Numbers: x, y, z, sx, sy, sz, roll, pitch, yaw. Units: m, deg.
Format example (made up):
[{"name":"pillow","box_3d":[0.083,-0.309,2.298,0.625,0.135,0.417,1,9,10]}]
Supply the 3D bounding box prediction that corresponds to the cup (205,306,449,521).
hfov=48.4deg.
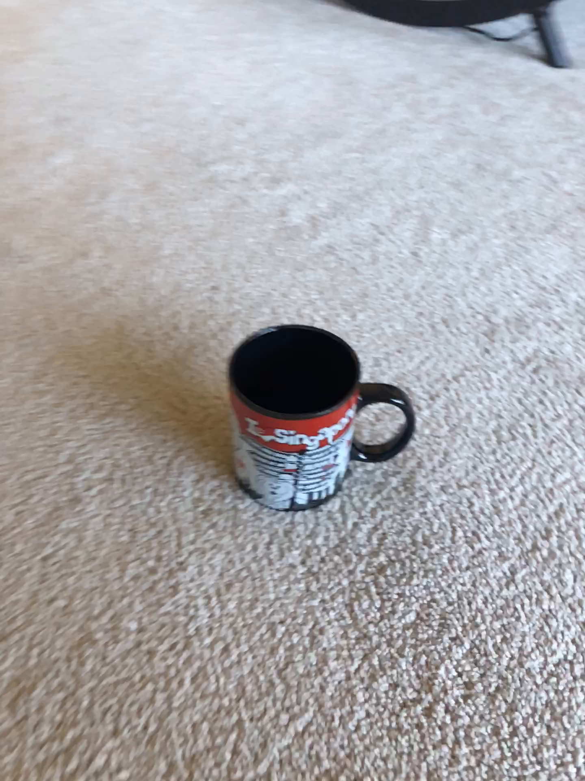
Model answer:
[{"name":"cup","box_3d":[0.021,0.014,0.410,0.130,0.090,0.090,4,45,3]}]
